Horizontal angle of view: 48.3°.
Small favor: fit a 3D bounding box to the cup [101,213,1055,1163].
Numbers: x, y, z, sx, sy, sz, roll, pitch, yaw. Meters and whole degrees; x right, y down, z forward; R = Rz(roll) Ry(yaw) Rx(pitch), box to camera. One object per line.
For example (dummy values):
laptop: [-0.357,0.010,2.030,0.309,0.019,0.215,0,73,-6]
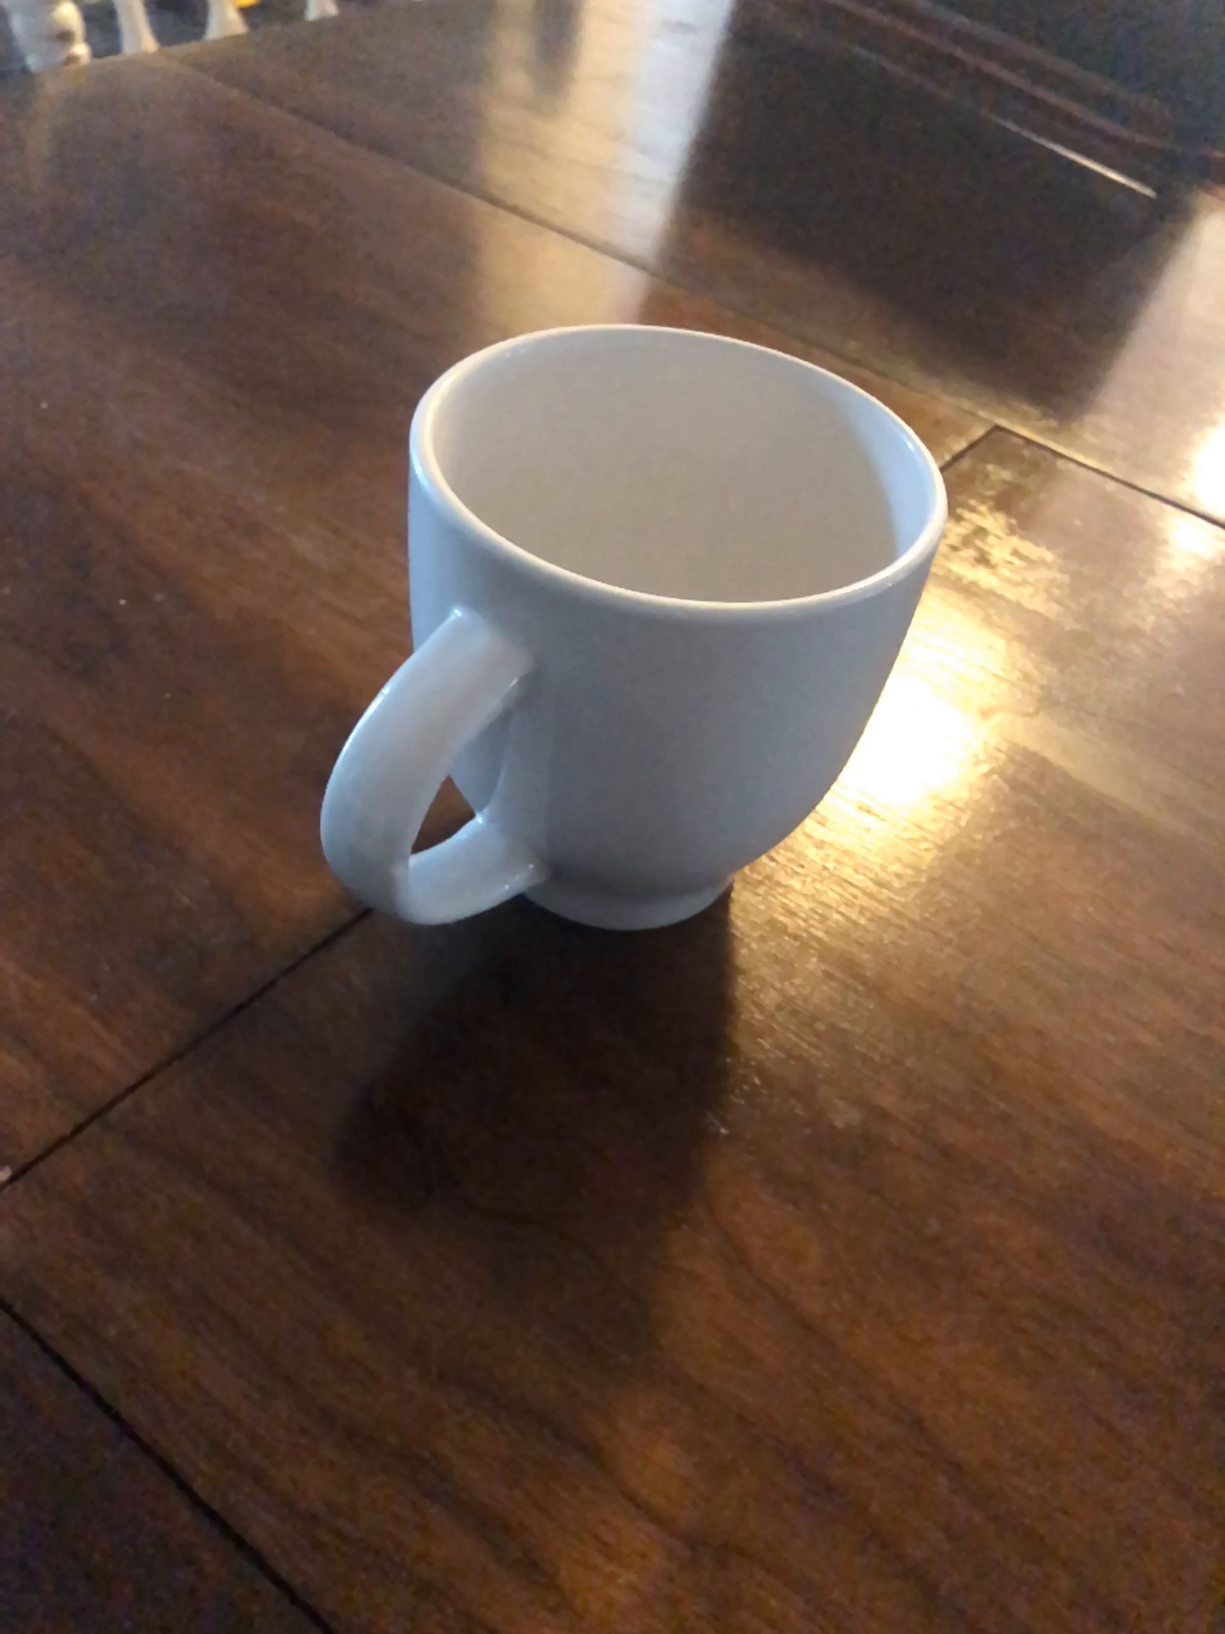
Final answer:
cup: [-0.001,-0.037,0.284,0.110,0.100,0.150,28,48,18]
